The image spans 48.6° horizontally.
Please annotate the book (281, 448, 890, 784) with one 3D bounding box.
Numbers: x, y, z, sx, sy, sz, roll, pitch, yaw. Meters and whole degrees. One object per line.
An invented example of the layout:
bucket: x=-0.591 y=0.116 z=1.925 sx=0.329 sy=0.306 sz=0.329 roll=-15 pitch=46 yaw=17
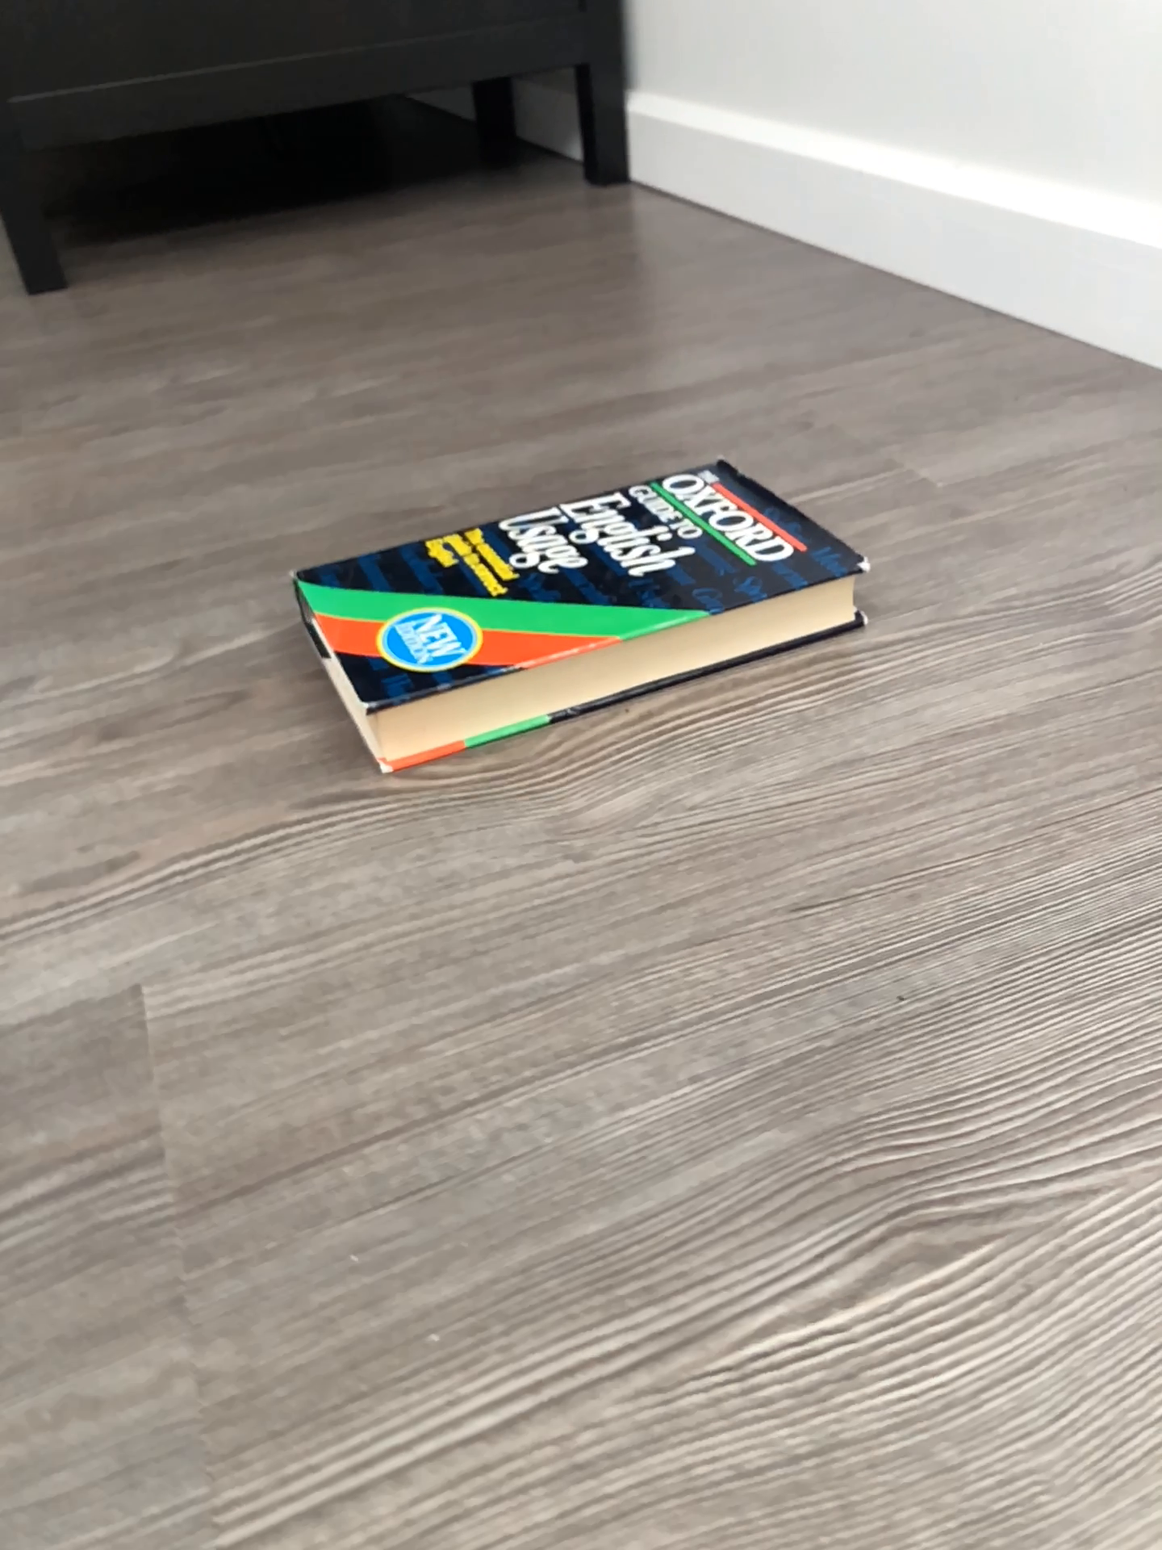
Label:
book: x=-0.003 y=-0.081 z=0.575 sx=0.230 sy=0.035 sz=0.151 roll=-17 pitch=36 yaw=-15
